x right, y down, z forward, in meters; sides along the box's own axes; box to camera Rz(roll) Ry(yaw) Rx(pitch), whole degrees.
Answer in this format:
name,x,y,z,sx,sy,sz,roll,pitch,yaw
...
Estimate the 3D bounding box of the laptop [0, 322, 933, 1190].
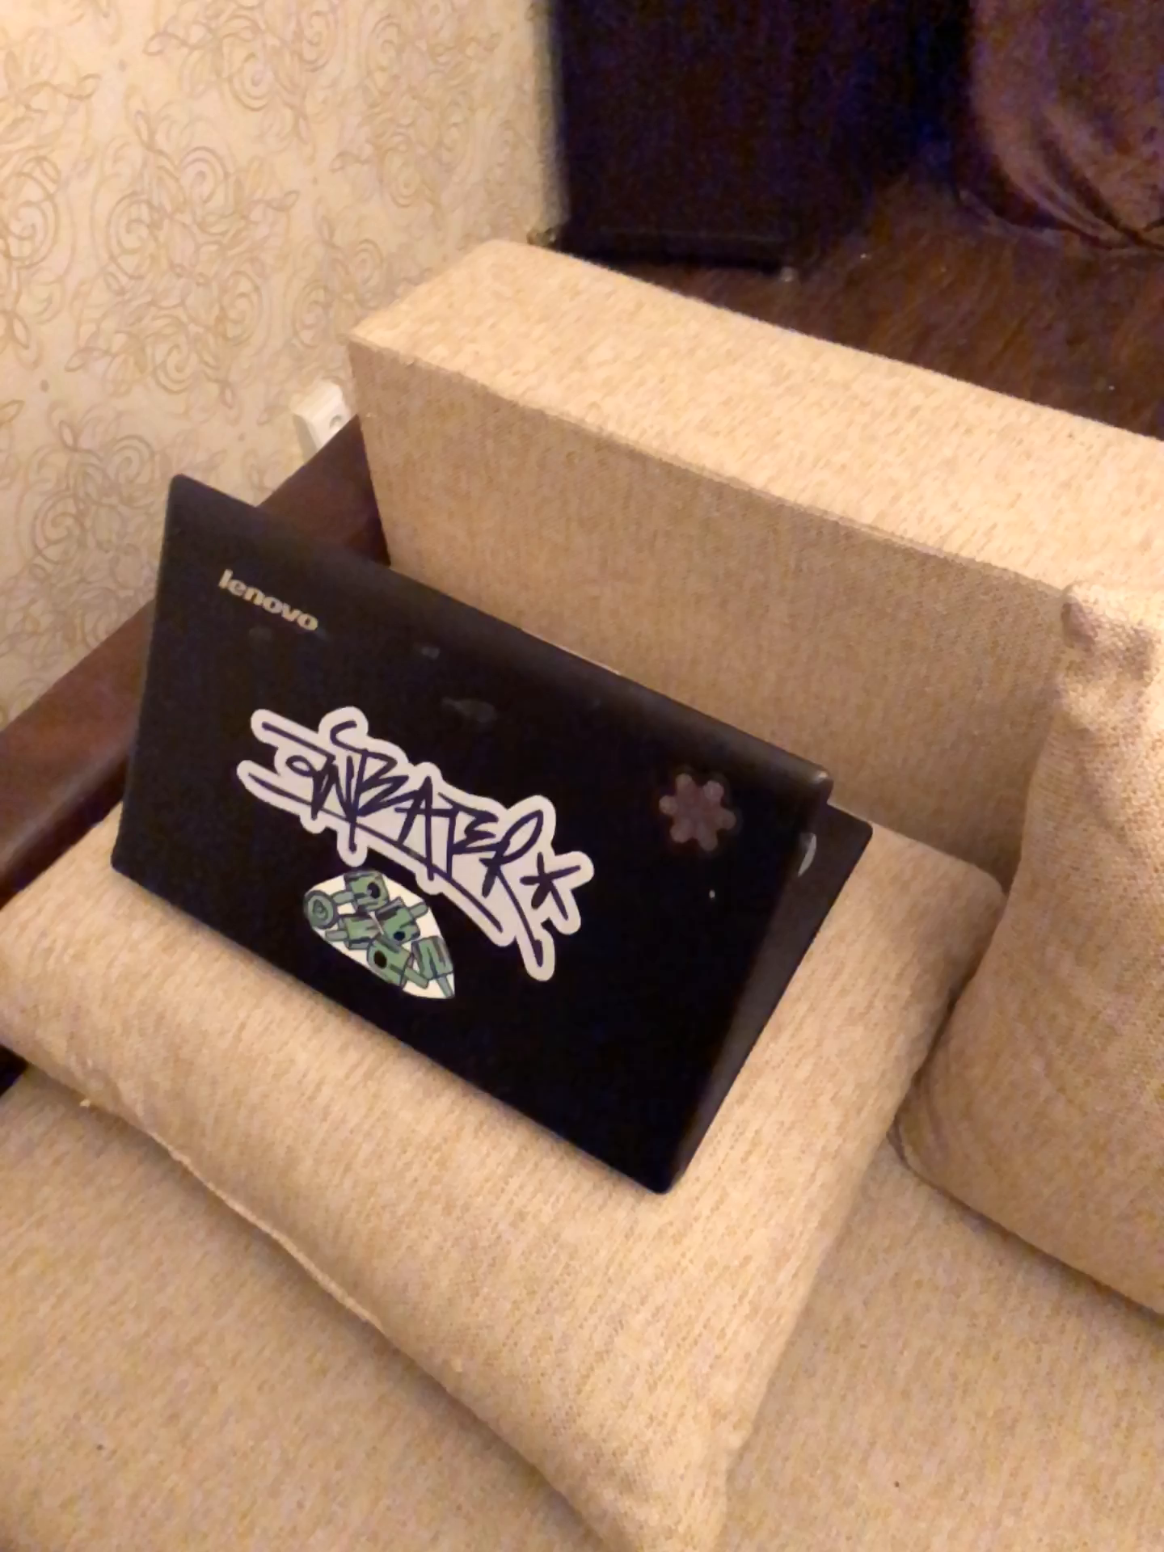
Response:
name,x,y,z,sx,sy,sz,roll,pitch,yaw
laptop,-0.064,-0.024,0.741,0.413,0.223,0.268,25,60,19
